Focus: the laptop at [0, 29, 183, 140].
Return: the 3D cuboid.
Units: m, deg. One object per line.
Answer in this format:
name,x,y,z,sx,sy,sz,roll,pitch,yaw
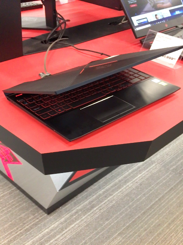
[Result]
laptop,0.024,-0.120,0.622,0.378,0.106,0.220,-28,52,-29
